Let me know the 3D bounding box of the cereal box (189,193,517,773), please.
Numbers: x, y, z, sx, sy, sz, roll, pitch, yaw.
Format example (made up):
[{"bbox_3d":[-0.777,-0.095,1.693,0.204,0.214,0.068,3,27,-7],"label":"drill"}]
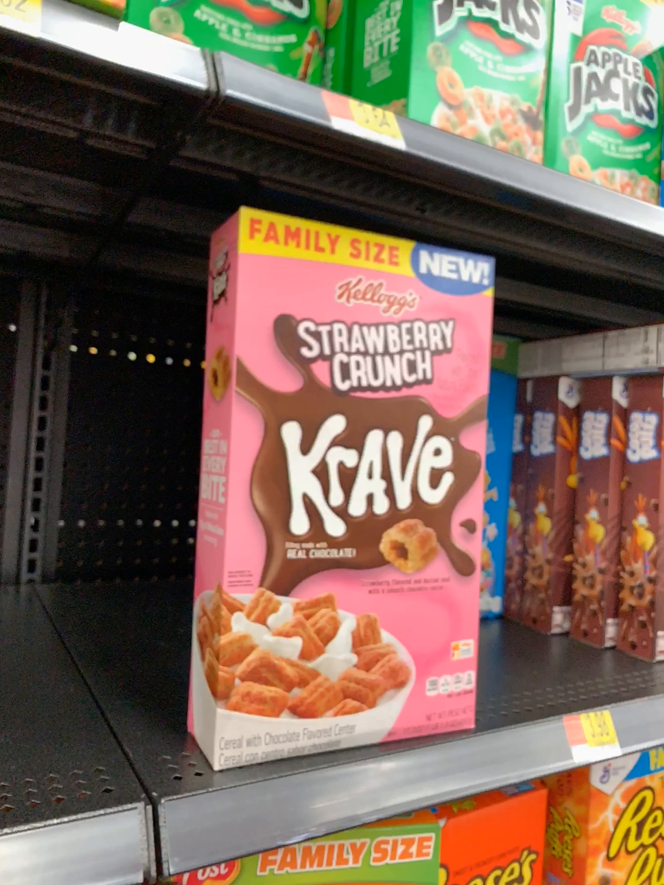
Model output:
[{"bbox_3d":[0.020,0.026,0.467,0.200,0.330,0.060,4,-3,-27],"label":"cereal box"}]
